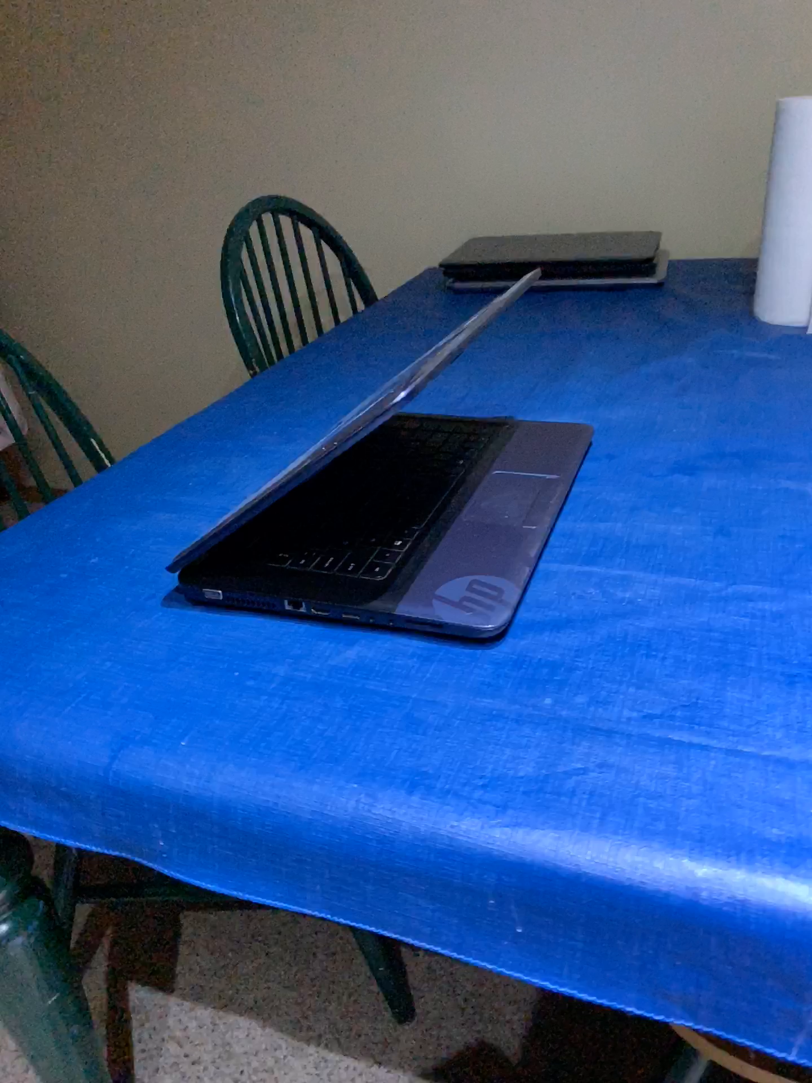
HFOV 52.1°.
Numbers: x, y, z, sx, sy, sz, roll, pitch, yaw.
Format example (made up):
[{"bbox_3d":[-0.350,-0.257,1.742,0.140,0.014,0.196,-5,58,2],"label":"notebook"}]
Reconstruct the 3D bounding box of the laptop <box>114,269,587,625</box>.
[{"bbox_3d":[-0.005,-0.110,0.670,0.239,0.141,0.365,6,30,19],"label":"laptop"}]
